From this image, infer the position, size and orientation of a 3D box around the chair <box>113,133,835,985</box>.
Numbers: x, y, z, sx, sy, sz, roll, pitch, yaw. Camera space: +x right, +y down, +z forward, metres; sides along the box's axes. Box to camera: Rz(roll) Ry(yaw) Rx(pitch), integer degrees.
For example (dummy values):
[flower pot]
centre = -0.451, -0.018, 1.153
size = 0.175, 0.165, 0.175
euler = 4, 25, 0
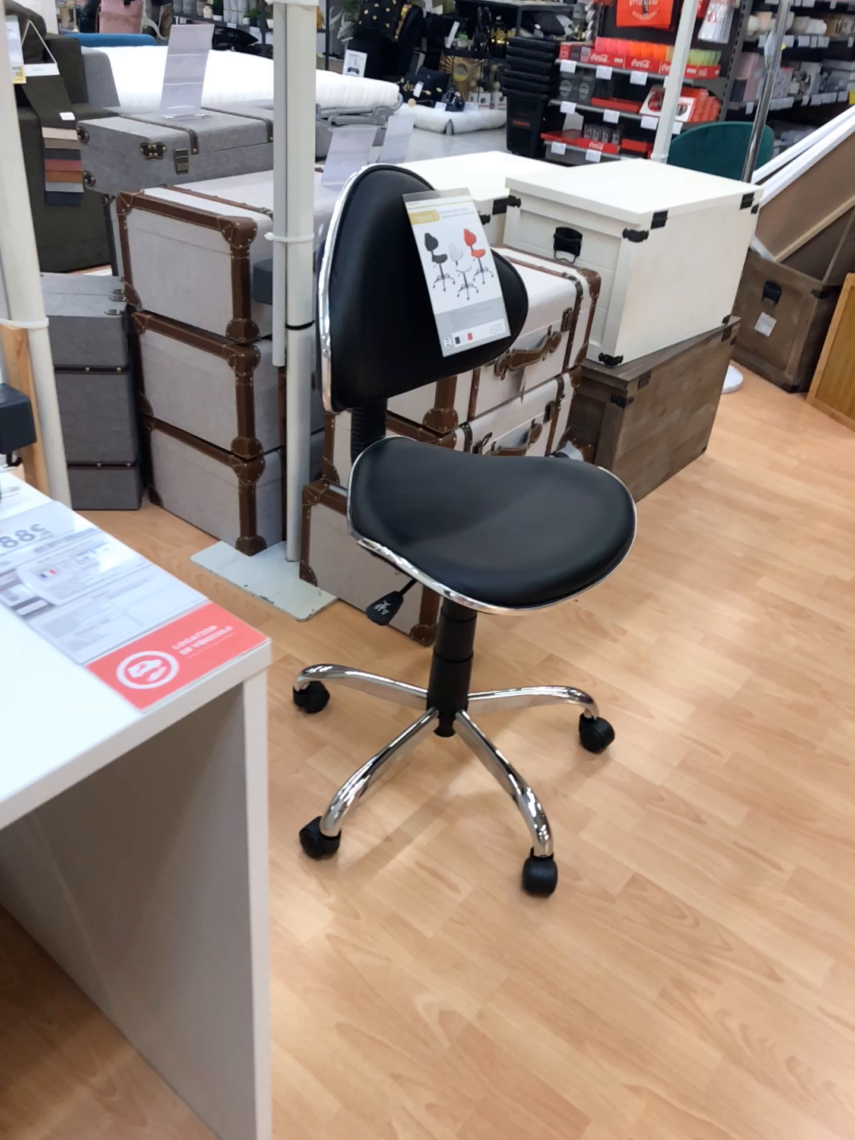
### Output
[chair]
centre = 0.054, -0.069, 1.299
size = 0.610, 0.855, 0.604
euler = 23, 37, 25
